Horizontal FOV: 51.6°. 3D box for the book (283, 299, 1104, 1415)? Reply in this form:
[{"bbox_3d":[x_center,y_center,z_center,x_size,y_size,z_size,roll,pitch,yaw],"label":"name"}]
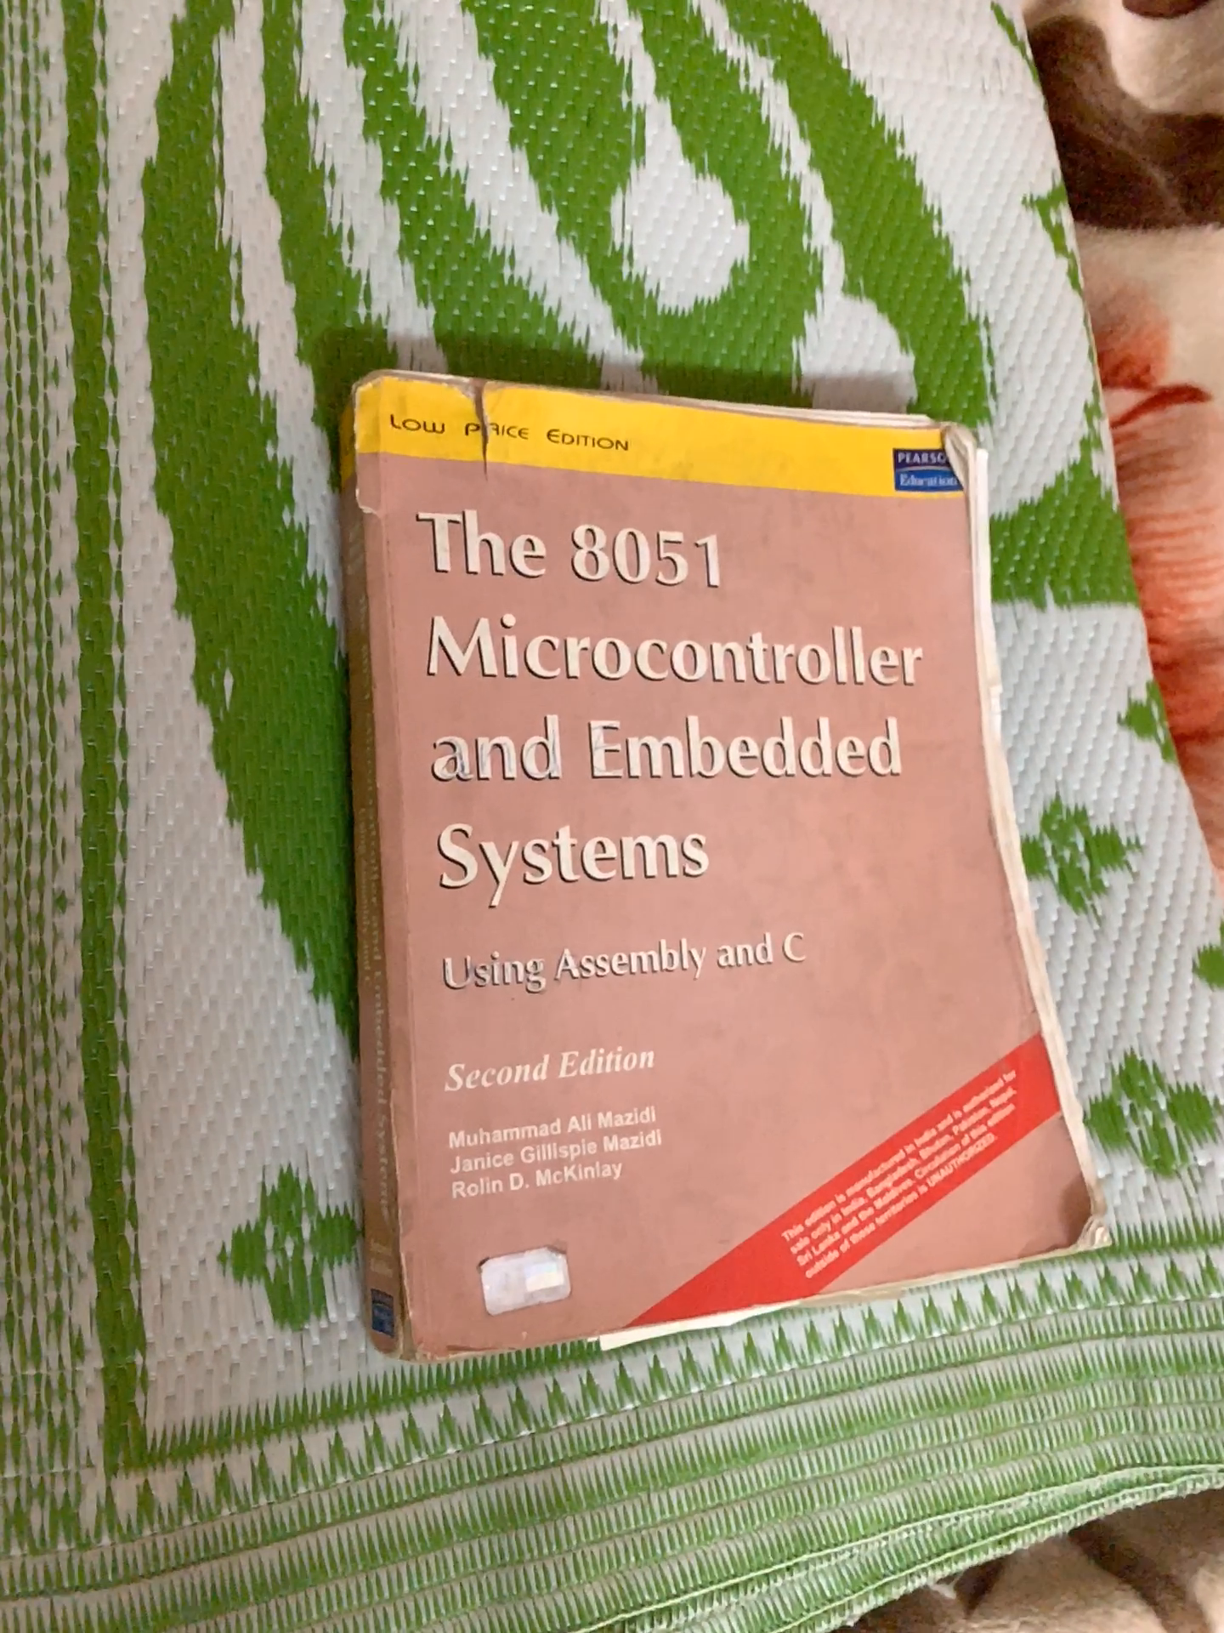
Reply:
[{"bbox_3d":[0.023,0.002,0.396,0.230,0.050,0.300,-2,83,-17],"label":"book"}]
